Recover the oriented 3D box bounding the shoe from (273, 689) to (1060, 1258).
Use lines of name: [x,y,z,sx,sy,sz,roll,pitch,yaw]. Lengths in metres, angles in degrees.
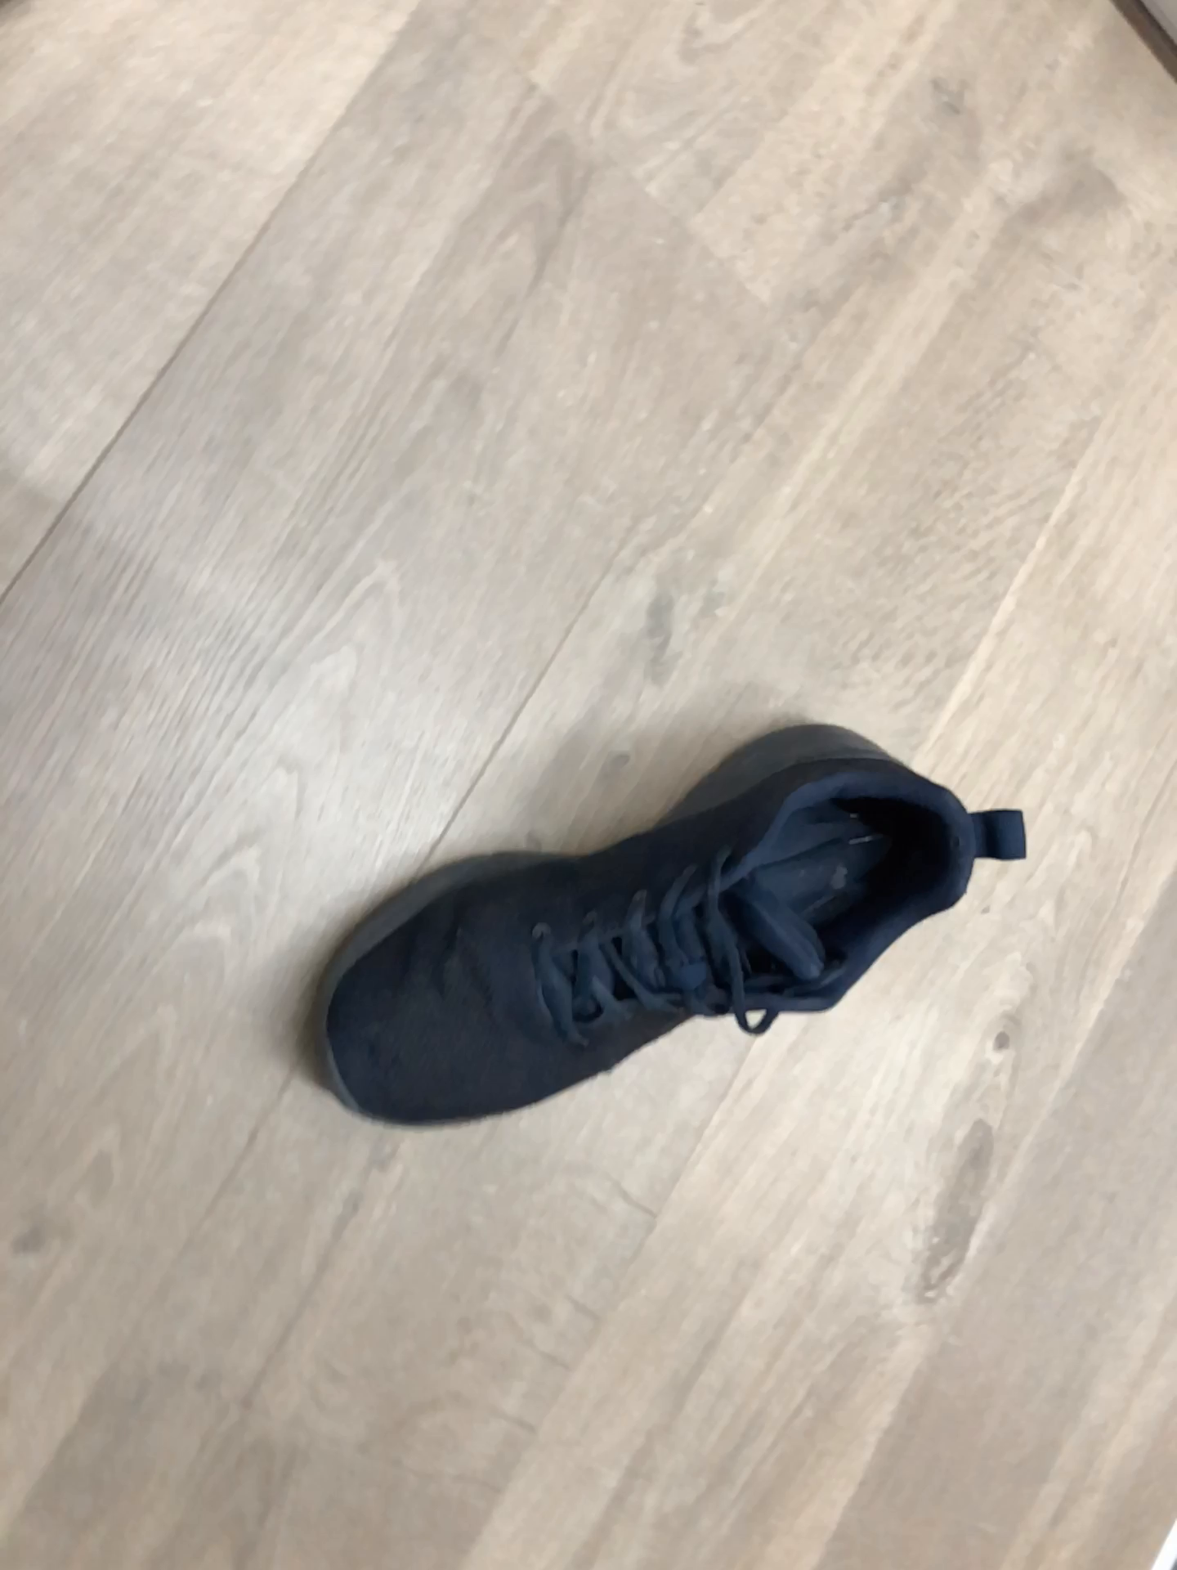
shoe: [0.036,0.058,0.534,0.291,0.110,0.100,-23,104,-21]
